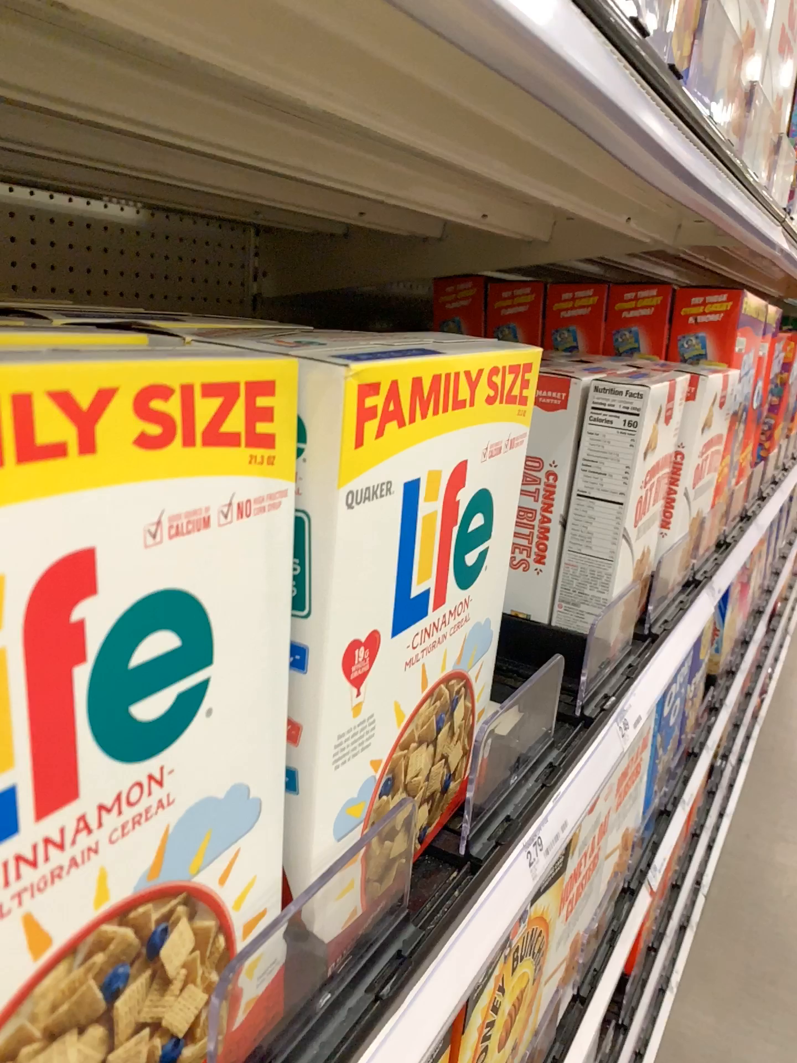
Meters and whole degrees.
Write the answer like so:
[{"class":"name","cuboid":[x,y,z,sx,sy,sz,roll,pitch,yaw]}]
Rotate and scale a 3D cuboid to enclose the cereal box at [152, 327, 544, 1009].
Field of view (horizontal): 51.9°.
[{"class":"cereal box","cuboid":[-0.018,0.040,0.387,0.070,0.259,0.190,15,19,29]}]
